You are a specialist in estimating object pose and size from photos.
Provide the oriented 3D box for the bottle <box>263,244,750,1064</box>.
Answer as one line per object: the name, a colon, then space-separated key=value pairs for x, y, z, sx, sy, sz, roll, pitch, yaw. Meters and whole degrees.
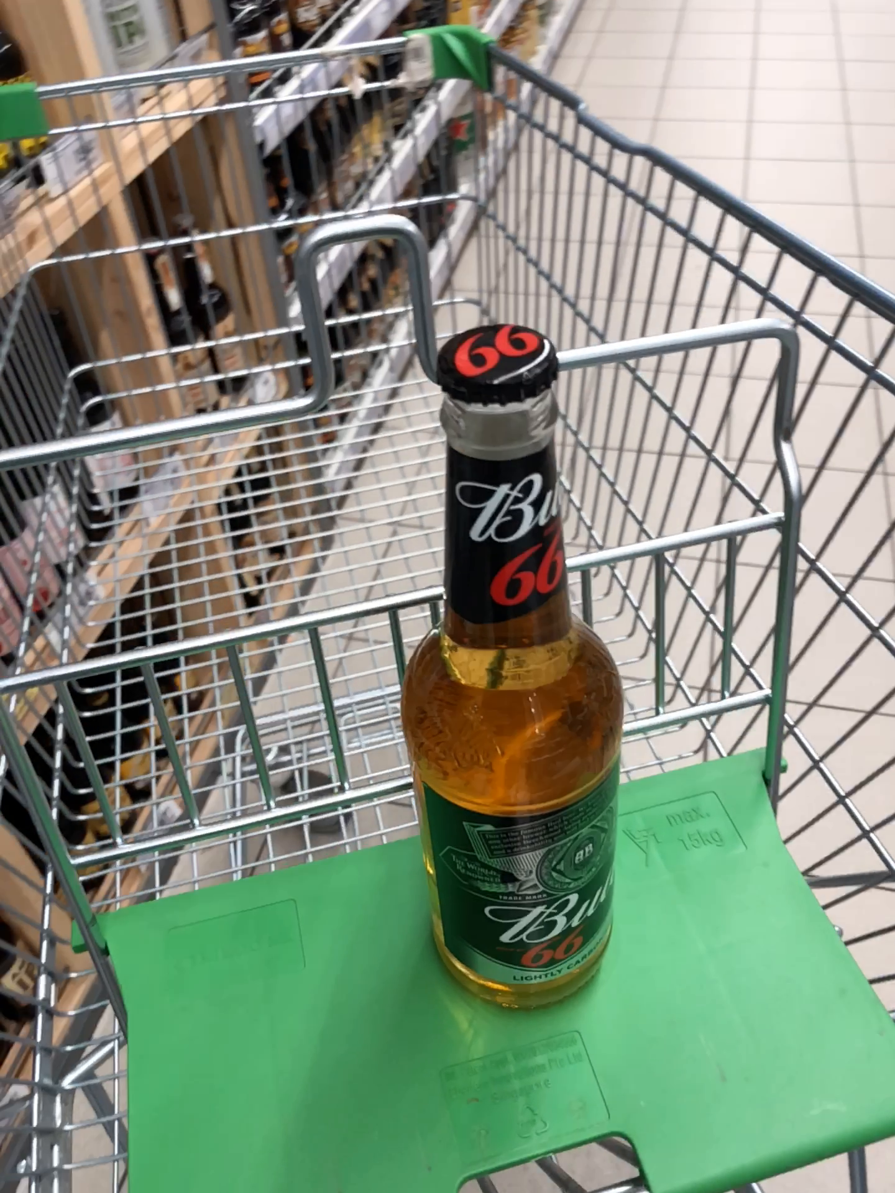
bottle: x=0.022 y=0.034 z=0.293 sx=0.080 sy=0.239 sz=0.070 roll=-27 pitch=45 yaw=-21
